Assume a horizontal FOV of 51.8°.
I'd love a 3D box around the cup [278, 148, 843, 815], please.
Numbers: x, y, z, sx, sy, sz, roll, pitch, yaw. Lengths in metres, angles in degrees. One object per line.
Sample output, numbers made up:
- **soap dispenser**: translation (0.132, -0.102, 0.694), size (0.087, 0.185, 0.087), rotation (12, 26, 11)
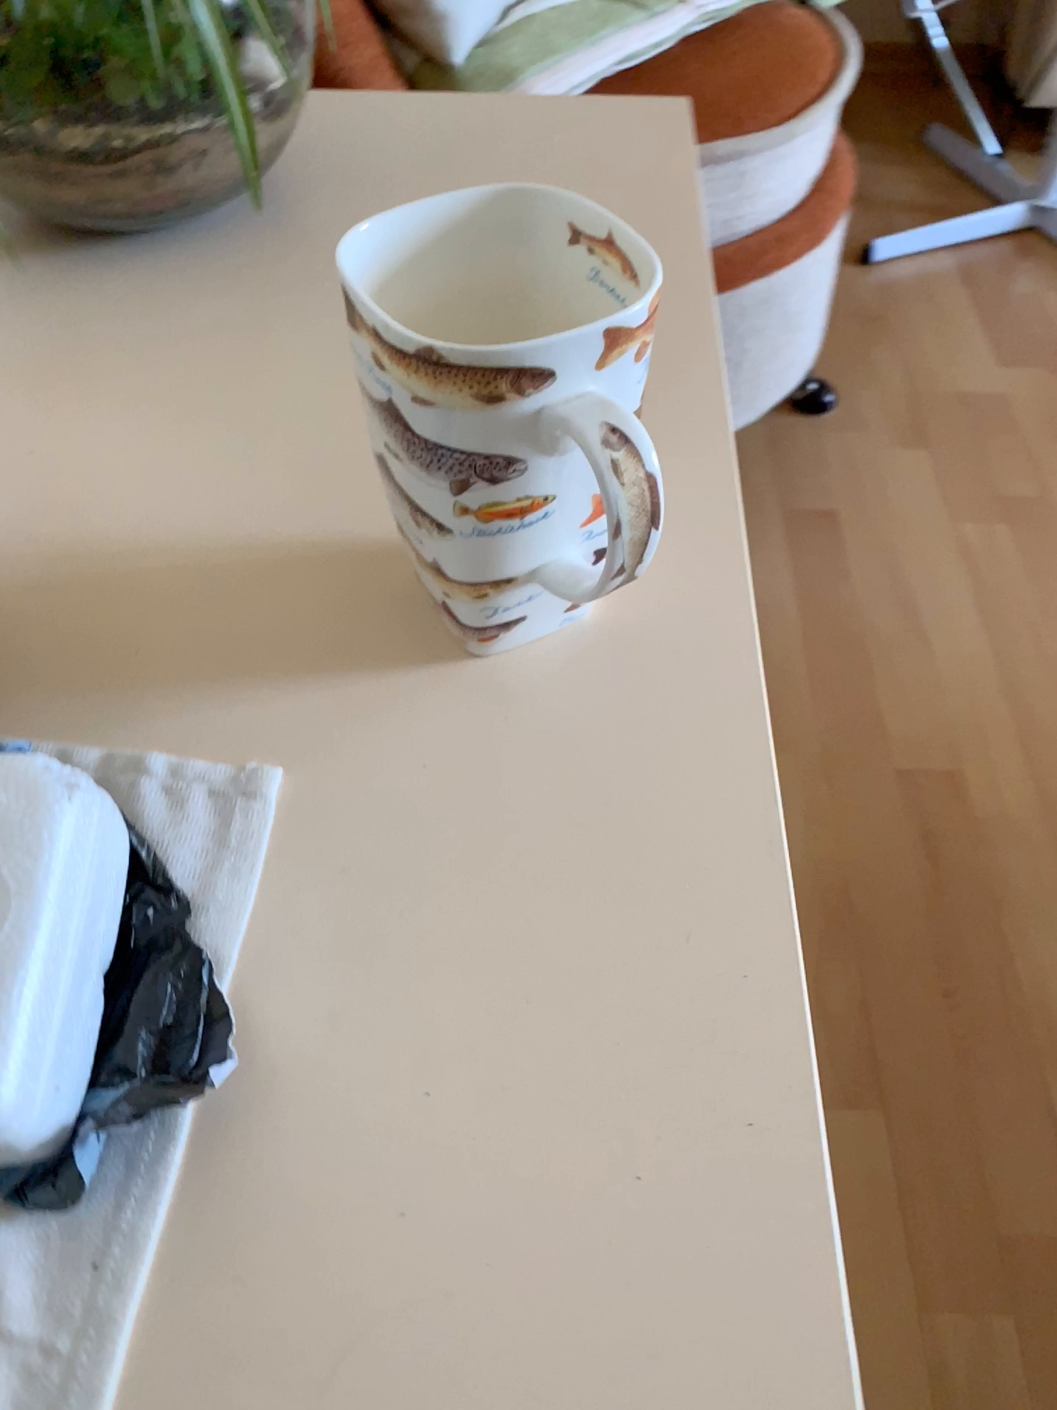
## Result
- **cup**: translation (0.002, -0.073, 0.345), size (0.100, 0.129, 0.141), rotation (-21, 53, -17)
